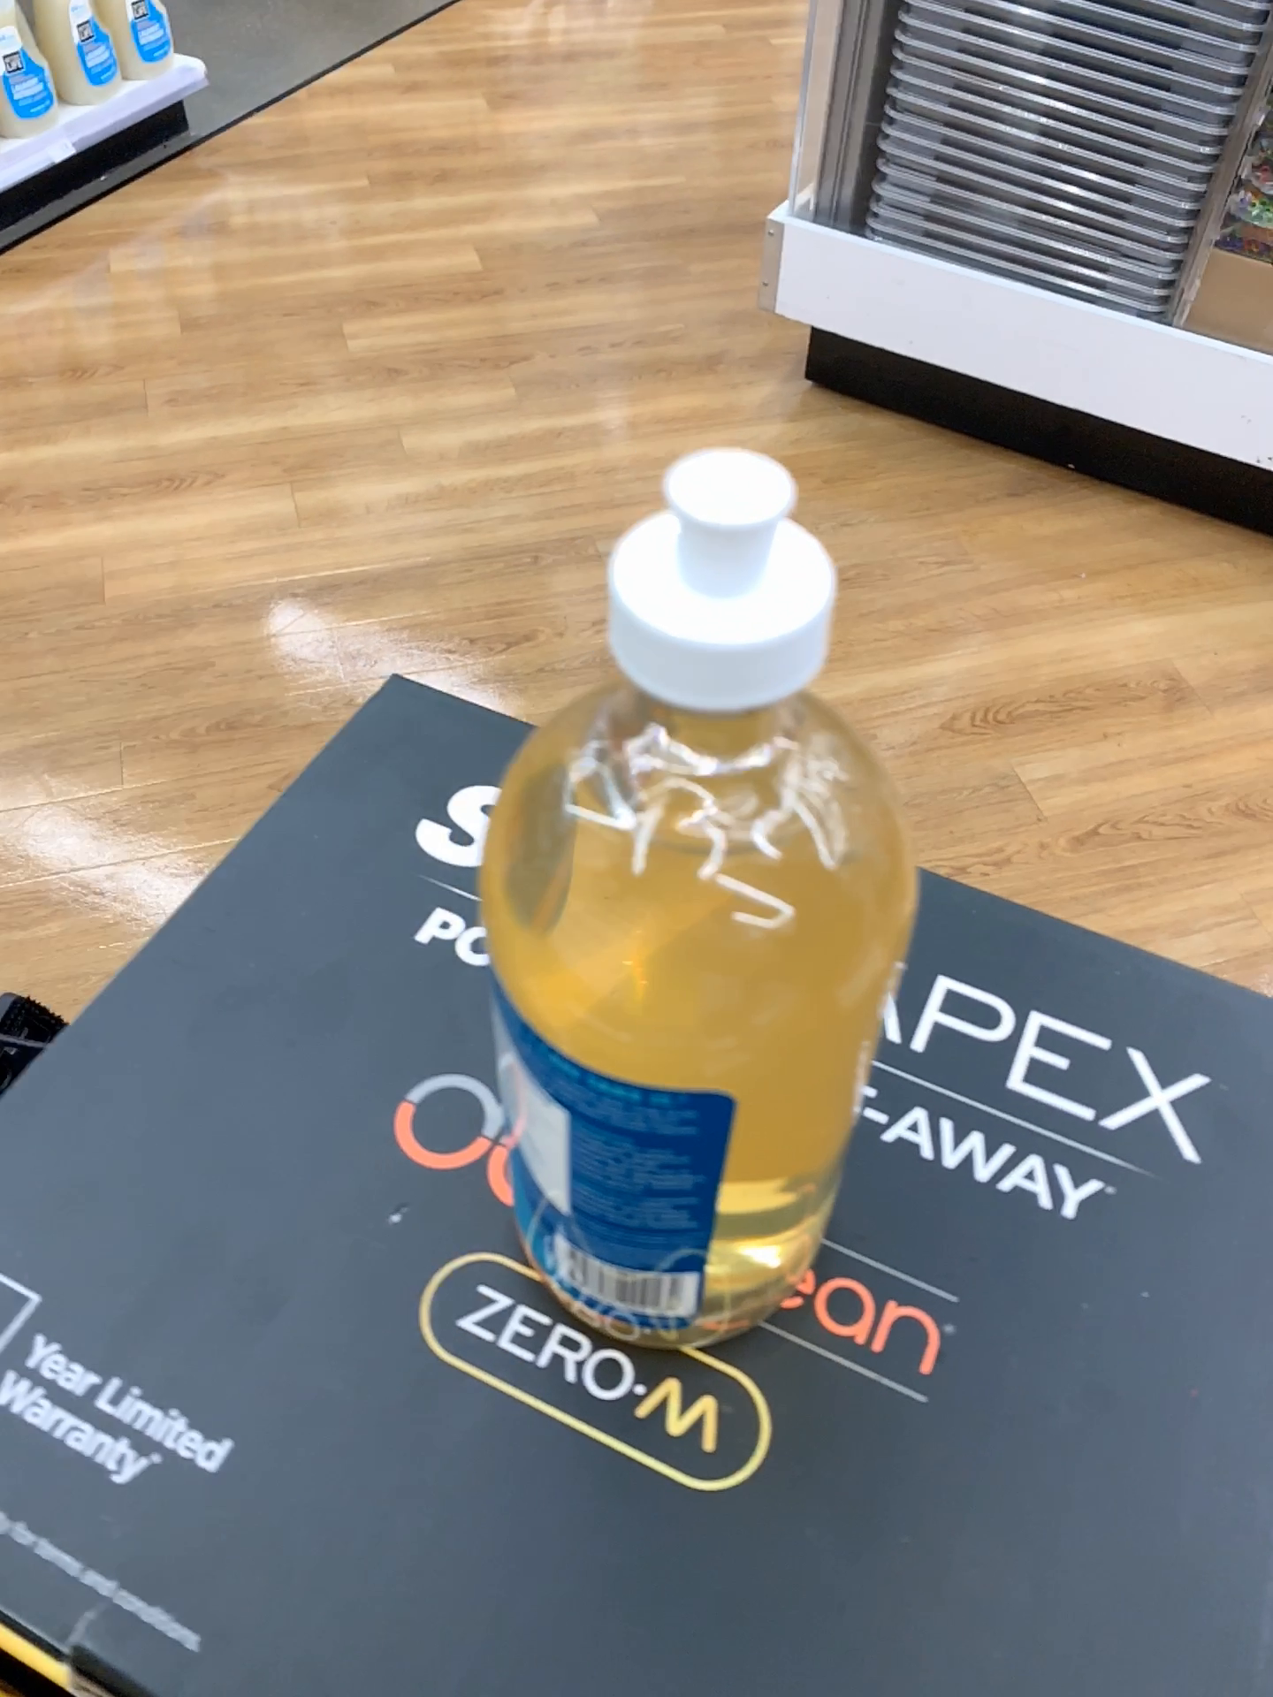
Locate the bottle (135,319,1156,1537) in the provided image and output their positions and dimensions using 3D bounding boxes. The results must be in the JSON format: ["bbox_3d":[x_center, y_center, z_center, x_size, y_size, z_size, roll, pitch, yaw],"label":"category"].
[{"bbox_3d":[0.000,0.034,0.242,0.090,0.209,0.090,1,50,-1],"label":"bottle"}]
